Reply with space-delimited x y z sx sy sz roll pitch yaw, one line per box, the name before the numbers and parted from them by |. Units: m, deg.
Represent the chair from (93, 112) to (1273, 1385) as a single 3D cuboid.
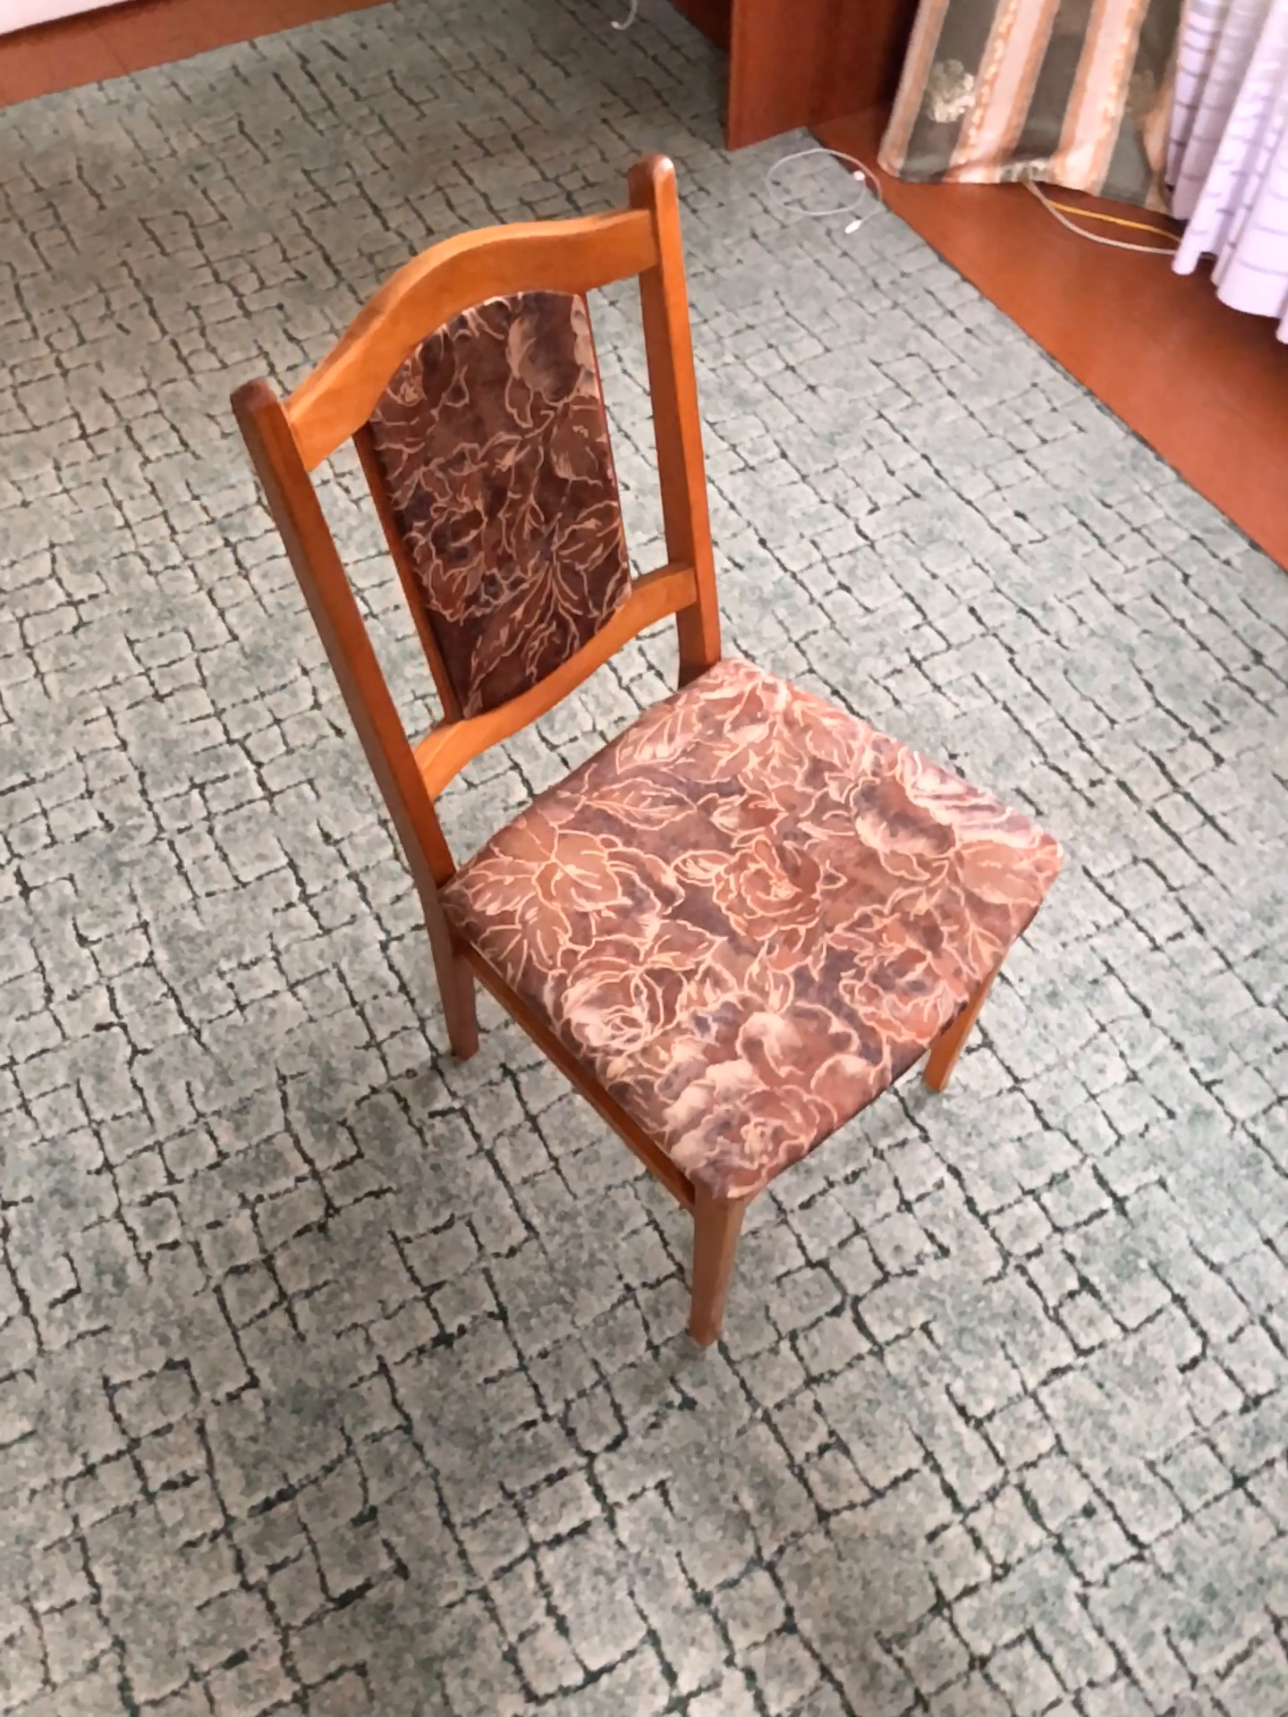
chair | 0.020 -0.023 1.242 0.482 0.875 0.552 -39 65 -22
